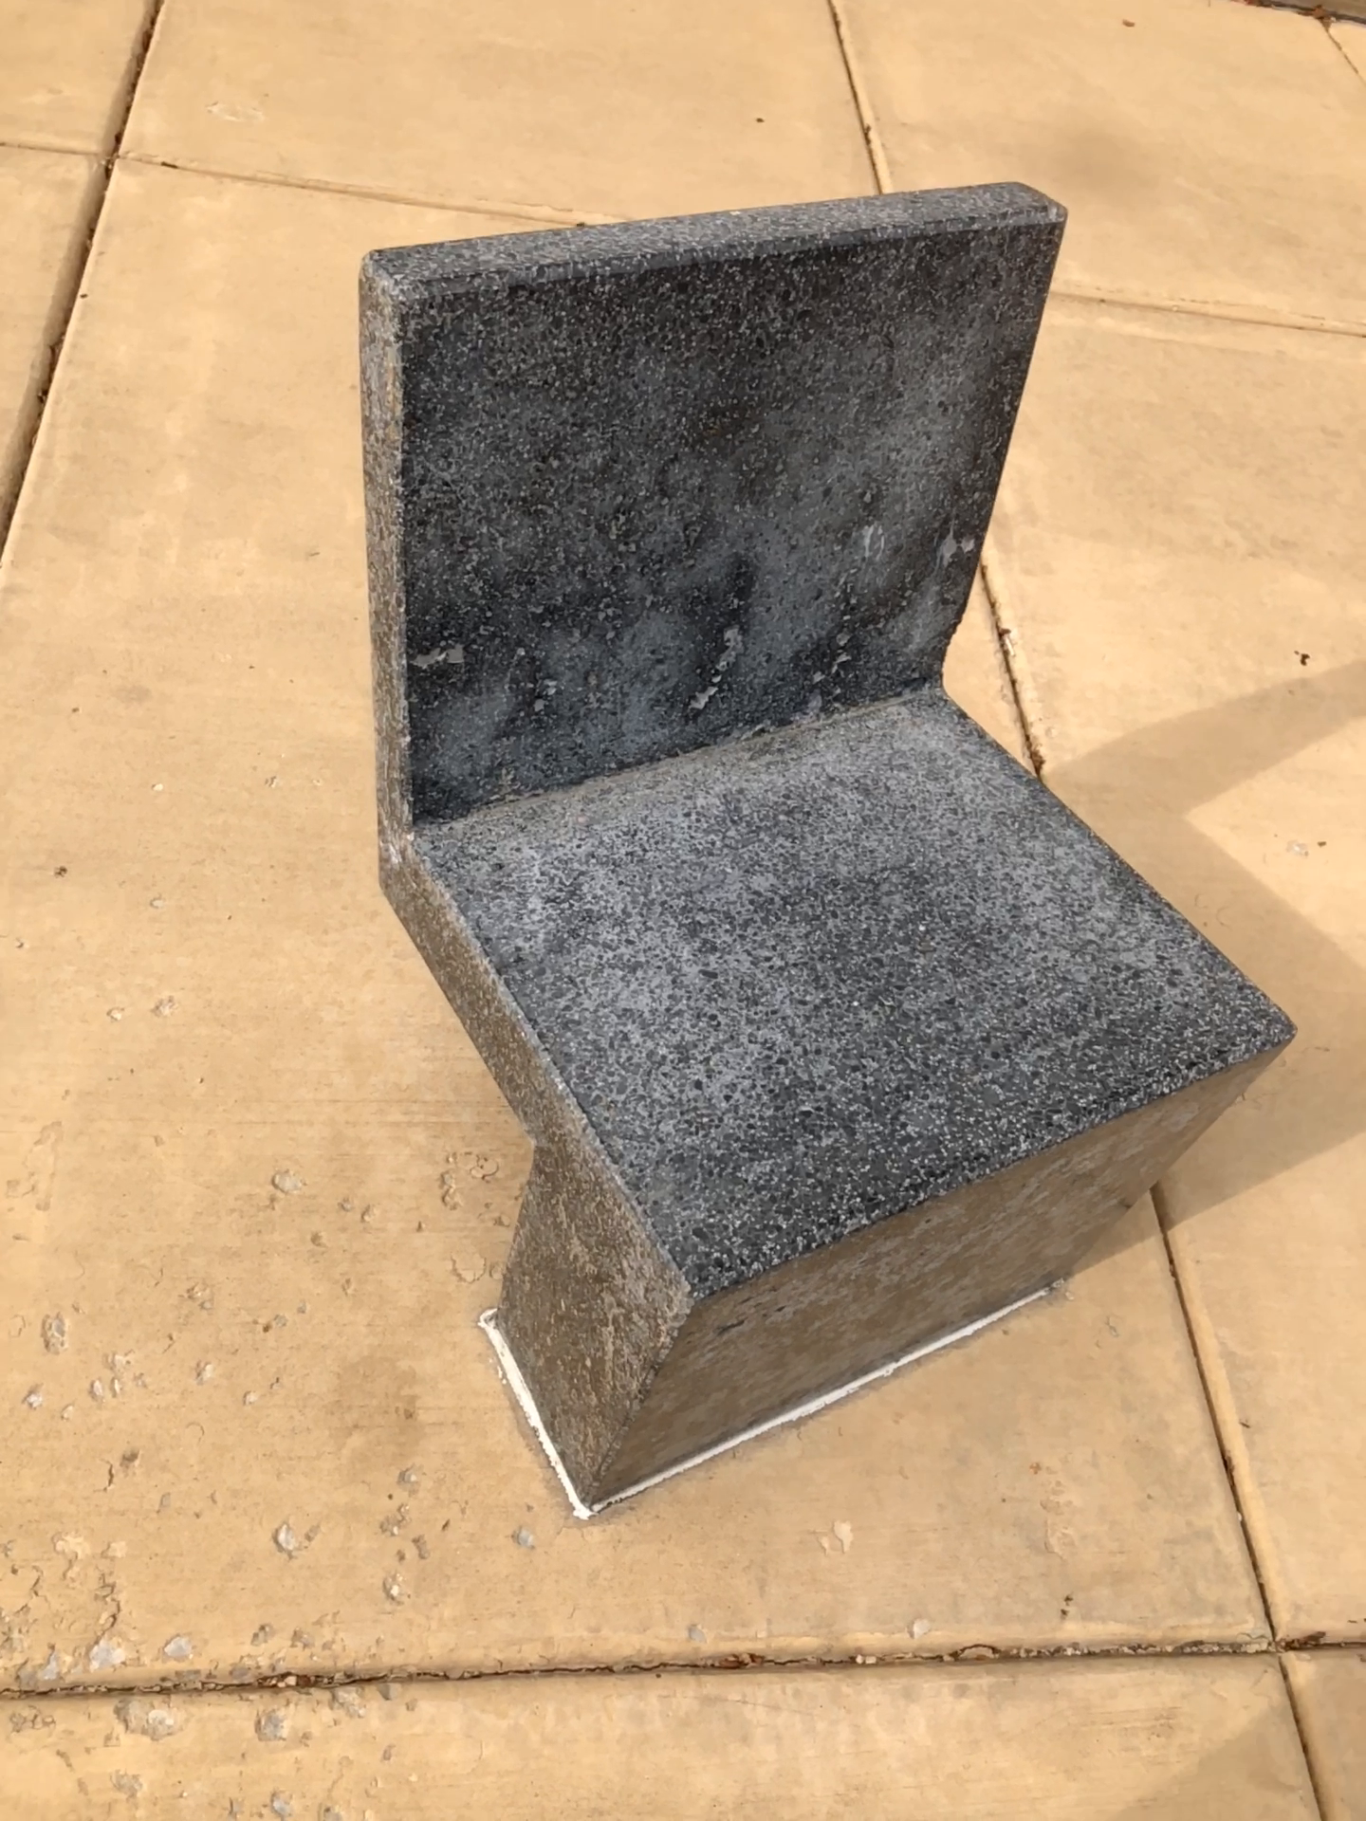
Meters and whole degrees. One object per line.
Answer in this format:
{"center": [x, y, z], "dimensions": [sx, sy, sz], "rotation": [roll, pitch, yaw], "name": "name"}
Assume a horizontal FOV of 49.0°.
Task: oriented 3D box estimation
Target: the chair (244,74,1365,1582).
{"center": [0.080, -0.065, 1.075], "dimensions": [0.571, 0.799, 0.560], "rotation": [-17, 51, -27], "name": "chair"}
